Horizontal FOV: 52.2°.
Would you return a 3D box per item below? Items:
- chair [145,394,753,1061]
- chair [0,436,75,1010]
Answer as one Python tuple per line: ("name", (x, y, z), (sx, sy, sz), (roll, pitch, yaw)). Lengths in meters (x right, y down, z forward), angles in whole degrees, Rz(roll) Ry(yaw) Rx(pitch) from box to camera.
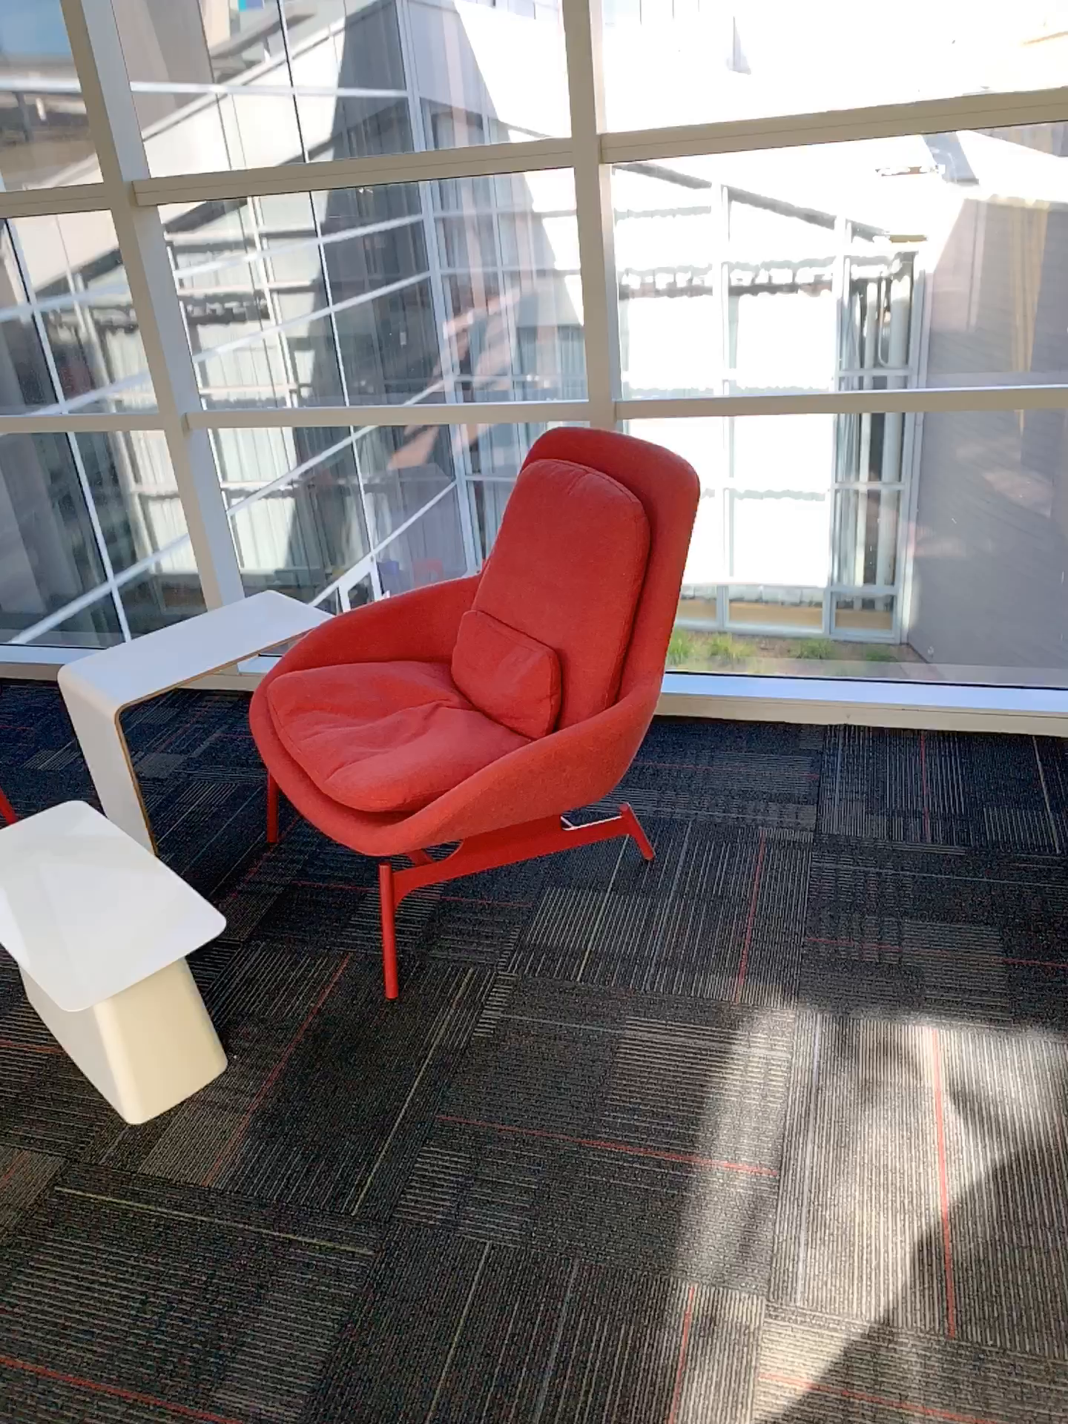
("chair", (-0.157, -0.063, 2.441), (0.921, 0.994, 0.875), (-23, 32, -29))
("chair", (-1.914, -0.045, 2.863), (0.871, 1.054, 0.824), (-24, 32, -31))
